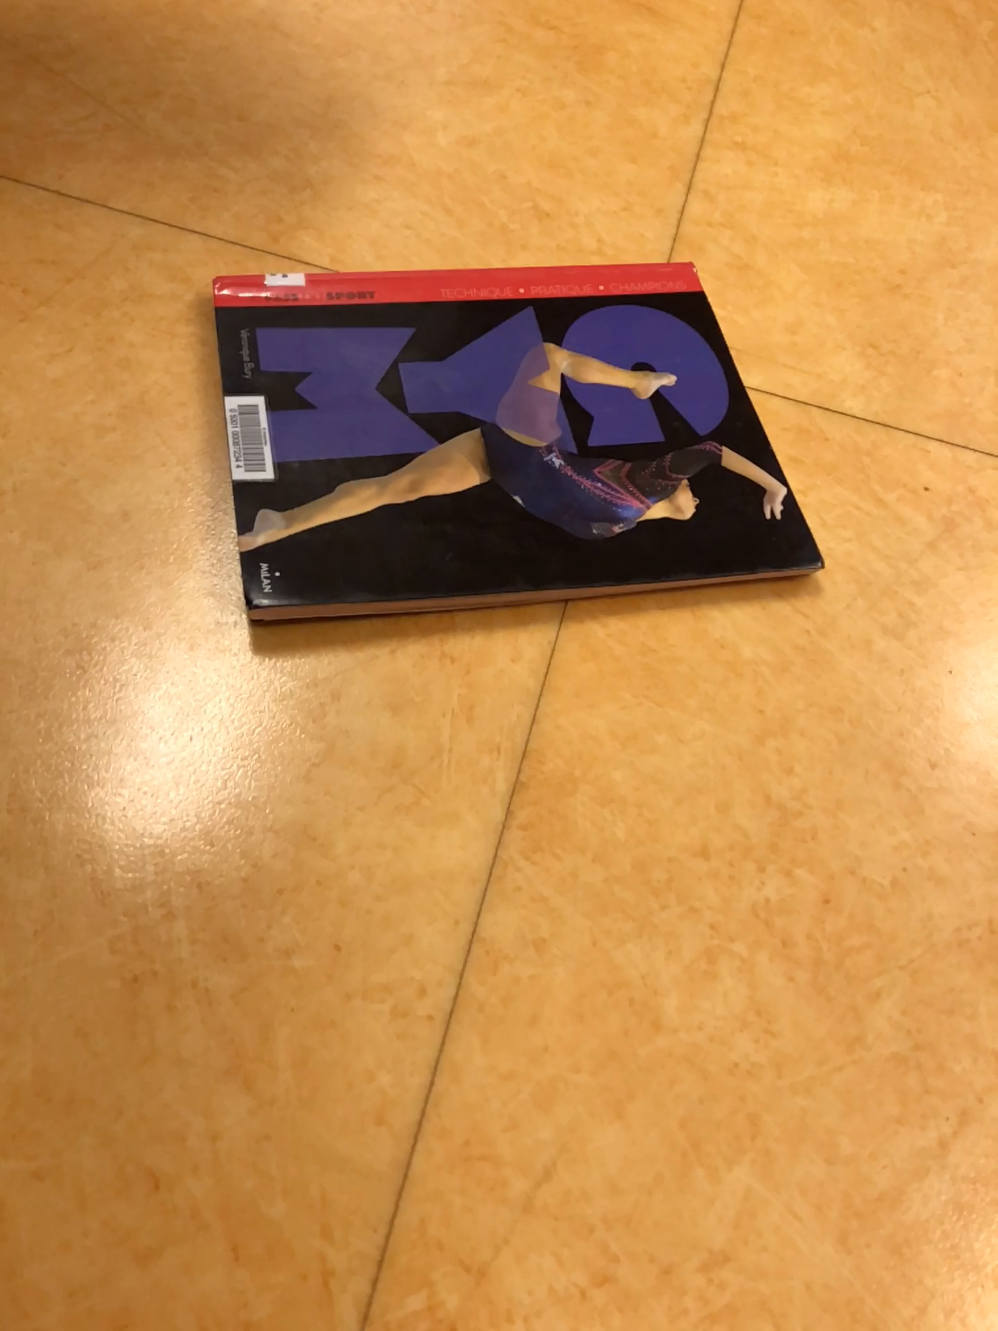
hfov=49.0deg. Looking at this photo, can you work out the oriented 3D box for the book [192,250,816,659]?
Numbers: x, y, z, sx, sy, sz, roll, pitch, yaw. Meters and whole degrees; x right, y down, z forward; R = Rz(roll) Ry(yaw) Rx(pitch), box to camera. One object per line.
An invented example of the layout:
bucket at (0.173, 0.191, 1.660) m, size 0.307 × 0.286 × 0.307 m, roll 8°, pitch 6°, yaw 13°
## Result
book at (-0.007, -0.104, 0.479) m, size 0.234 × 0.030 × 0.194 m, roll -6°, pitch 59°, yaw -12°
